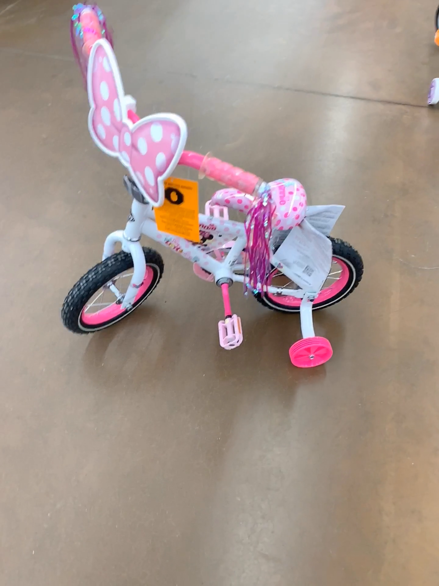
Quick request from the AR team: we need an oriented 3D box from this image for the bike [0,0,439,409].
[{"bbox_3d":[-0.002,-0.167,0.988,0.724,0.648,0.503,-9,52,-5],"label":"bike"}]
